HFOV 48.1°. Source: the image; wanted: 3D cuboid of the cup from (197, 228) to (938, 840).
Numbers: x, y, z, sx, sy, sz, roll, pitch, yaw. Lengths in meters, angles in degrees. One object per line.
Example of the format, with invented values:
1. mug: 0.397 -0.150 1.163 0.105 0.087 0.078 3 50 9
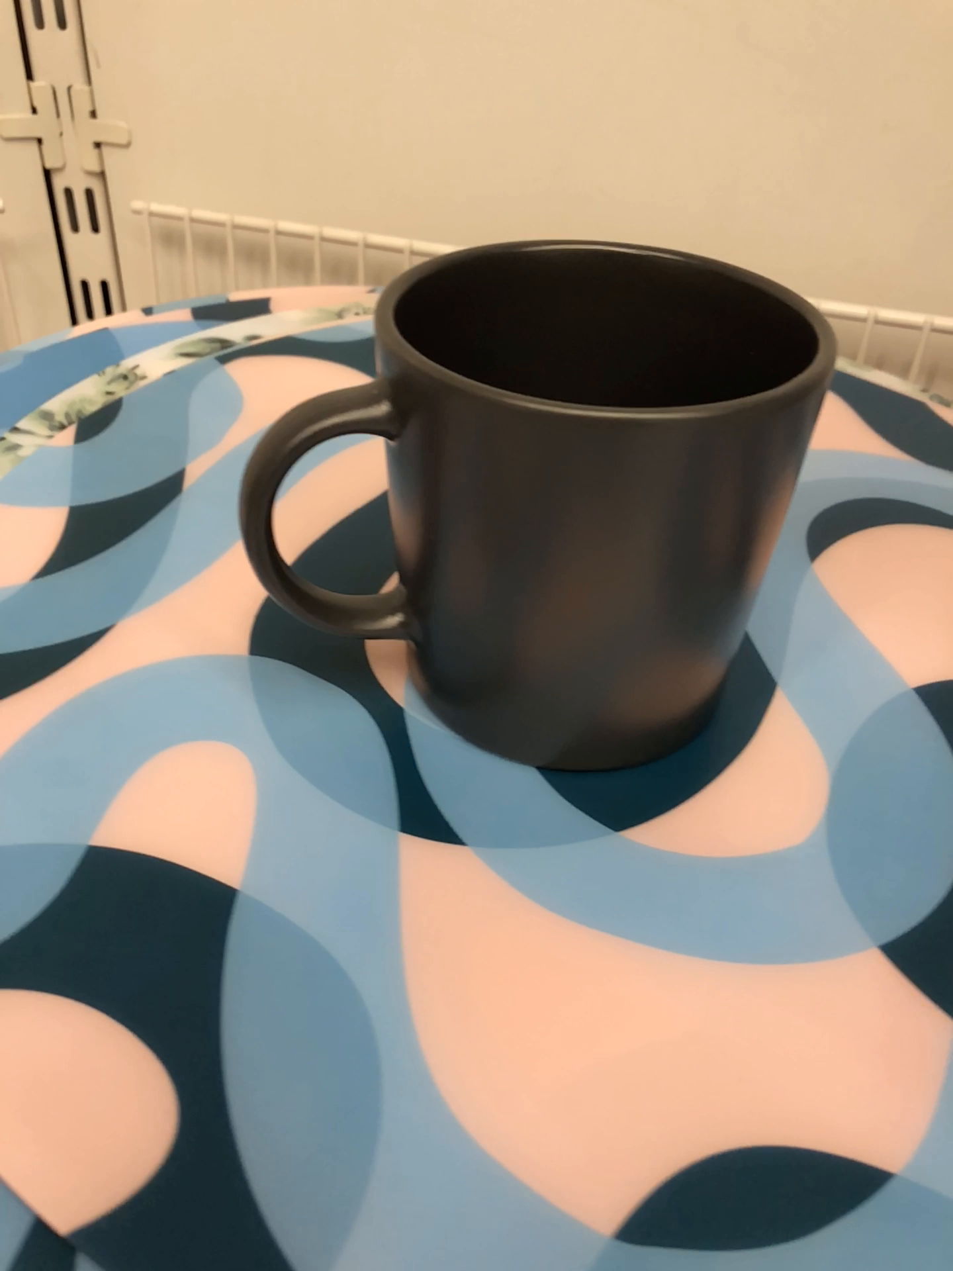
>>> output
1. cup: 0.007 -0.028 0.228 0.120 0.090 0.090 -5 36 -11
